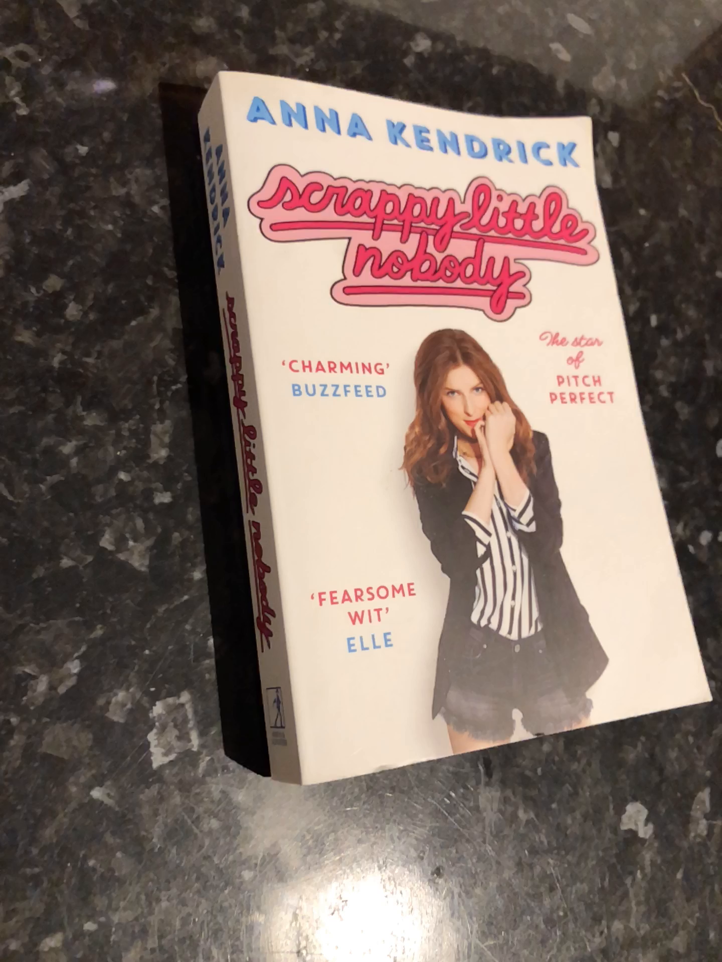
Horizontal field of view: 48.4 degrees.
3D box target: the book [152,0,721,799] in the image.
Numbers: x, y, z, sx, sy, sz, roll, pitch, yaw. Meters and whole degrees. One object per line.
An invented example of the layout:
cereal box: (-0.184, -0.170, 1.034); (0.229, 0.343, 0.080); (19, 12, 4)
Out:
book: (0.021, -0.030, 0.246); (0.141, 0.050, 0.210); (-1, 76, -29)
